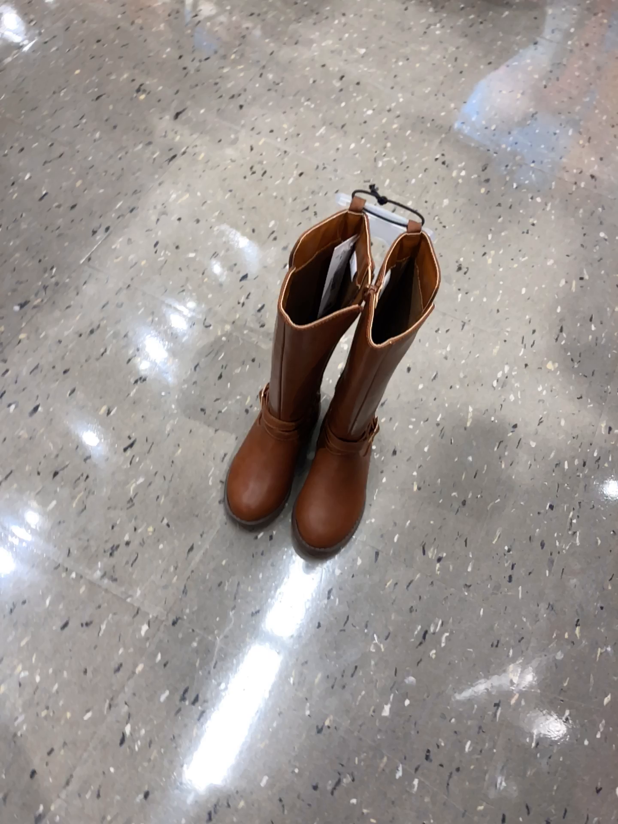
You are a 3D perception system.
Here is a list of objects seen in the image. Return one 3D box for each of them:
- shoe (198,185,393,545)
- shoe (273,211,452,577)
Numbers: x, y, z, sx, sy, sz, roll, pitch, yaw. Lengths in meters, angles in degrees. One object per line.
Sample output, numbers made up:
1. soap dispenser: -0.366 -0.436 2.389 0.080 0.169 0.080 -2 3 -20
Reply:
1. shoe: -0.022 -0.021 0.583 0.070 0.270 0.180 21 60 0
2. shoe: 0.036 0.003 0.585 0.070 0.270 0.190 16 60 3
